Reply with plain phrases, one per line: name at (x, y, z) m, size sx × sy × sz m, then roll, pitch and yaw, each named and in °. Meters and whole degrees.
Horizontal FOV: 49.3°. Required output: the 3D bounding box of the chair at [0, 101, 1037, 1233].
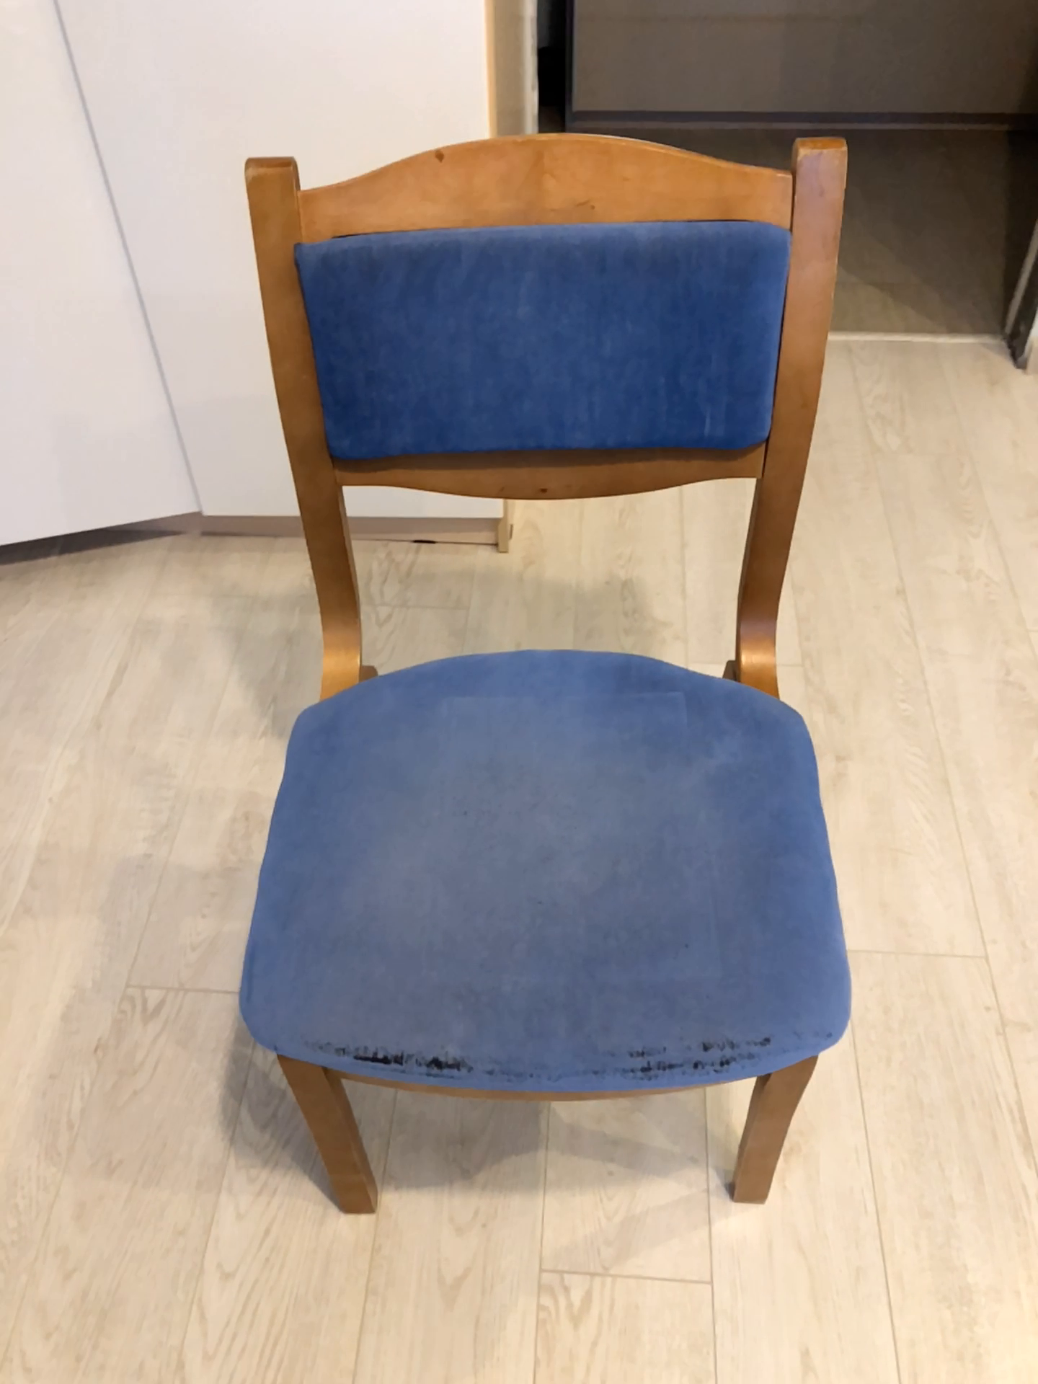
chair at (0.029, 0.055, 0.899) m, size 0.450 × 0.805 × 0.473 m, roll -1°, pitch 49°, yaw 2°
